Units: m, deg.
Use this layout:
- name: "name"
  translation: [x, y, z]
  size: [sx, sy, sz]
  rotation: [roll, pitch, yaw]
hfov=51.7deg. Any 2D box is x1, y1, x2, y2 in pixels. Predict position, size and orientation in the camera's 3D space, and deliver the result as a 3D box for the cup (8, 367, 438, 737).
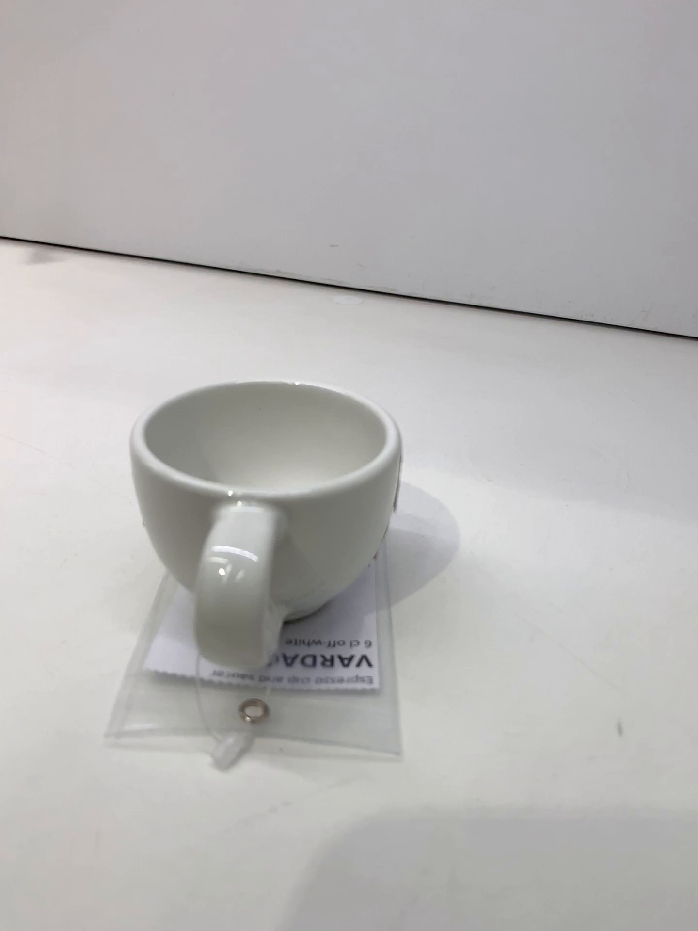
- name: "cup"
  translation: [-0.021, 0.013, 0.162]
  size: [0.070, 0.040, 0.080]
  rotation: [4, 27, 0]
